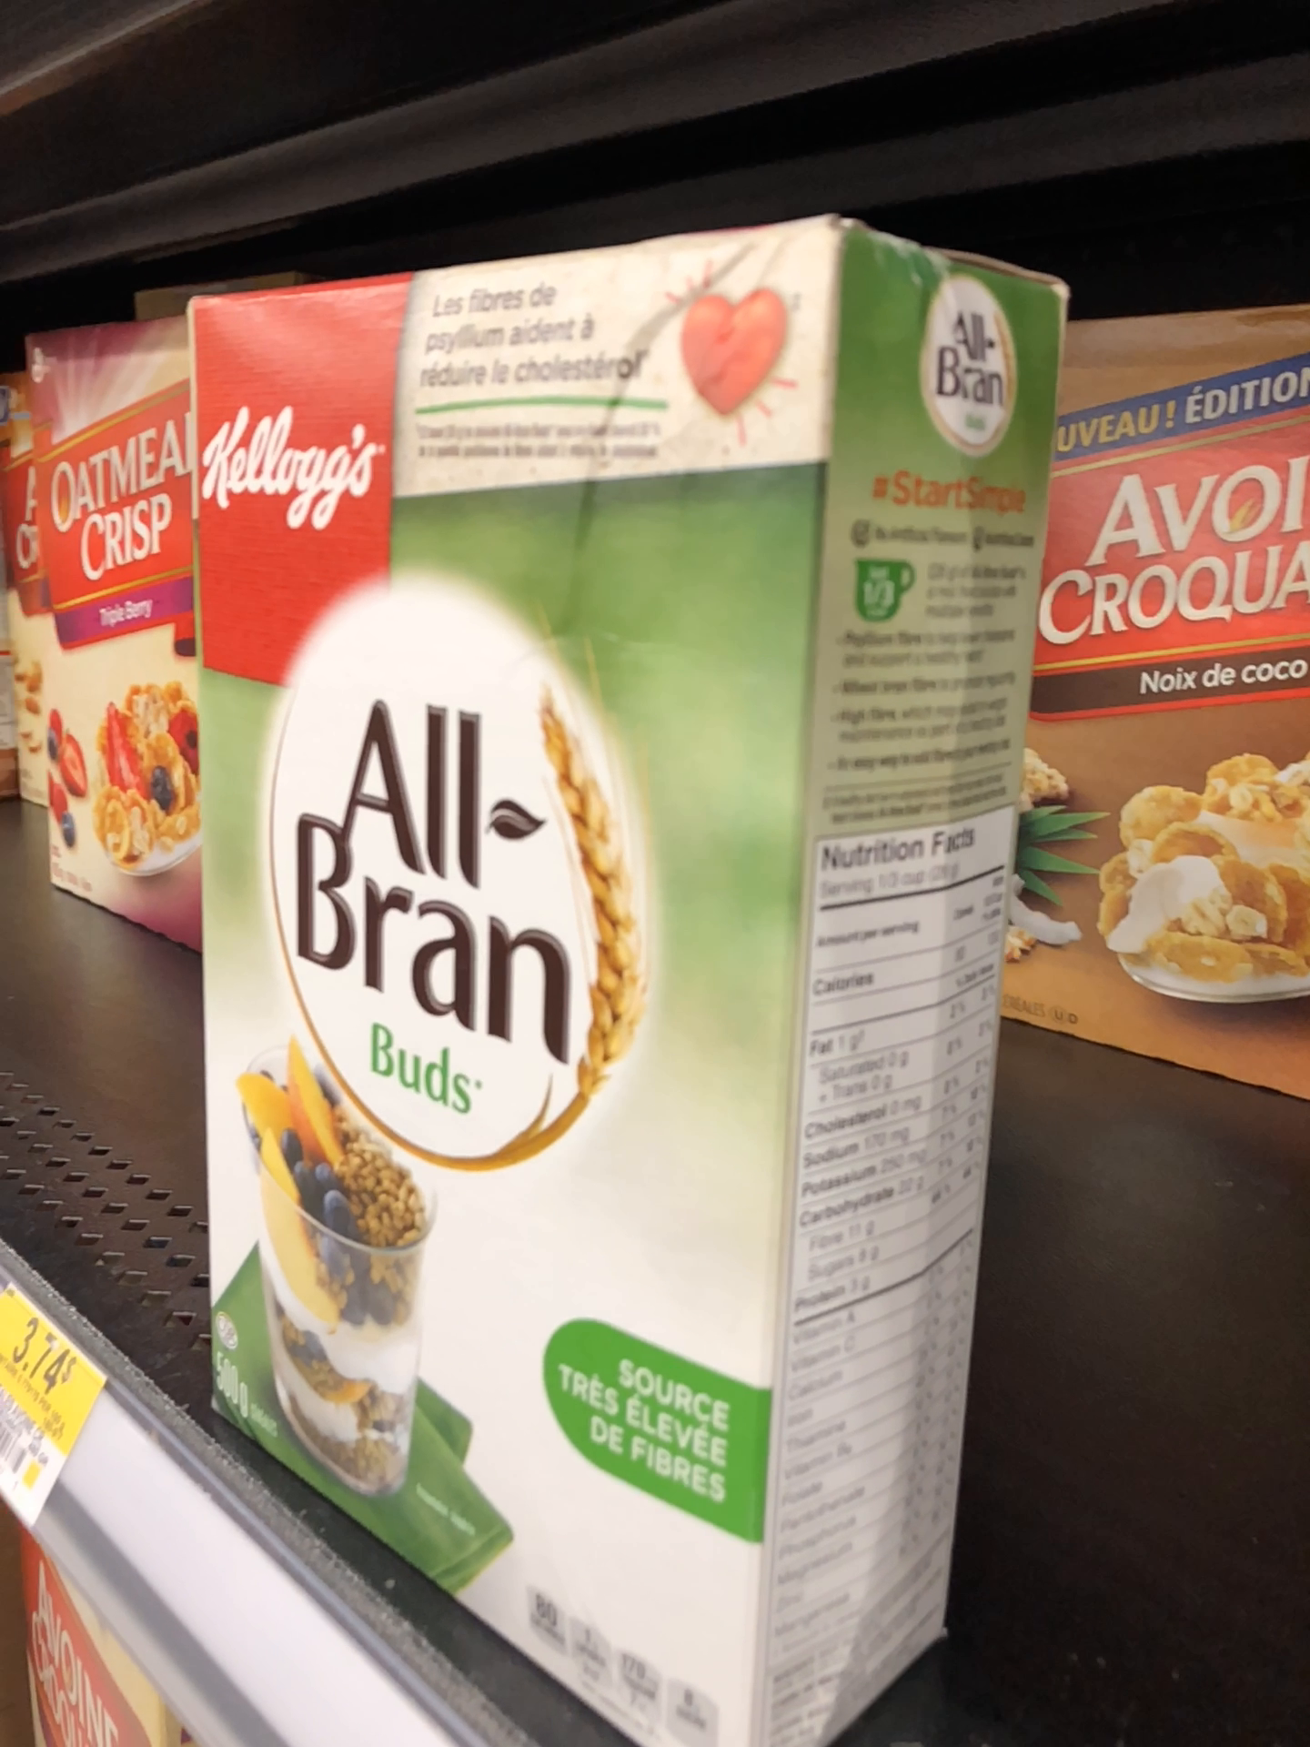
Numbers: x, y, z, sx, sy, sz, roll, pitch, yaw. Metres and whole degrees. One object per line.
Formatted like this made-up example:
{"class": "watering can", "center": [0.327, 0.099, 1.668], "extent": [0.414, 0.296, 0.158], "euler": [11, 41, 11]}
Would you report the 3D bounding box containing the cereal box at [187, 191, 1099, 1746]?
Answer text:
{"class": "cereal box", "center": [-0.014, 0.013, 0.253], "extent": [0.150, 0.219, 0.050], "euler": [13, 18, 41]}
